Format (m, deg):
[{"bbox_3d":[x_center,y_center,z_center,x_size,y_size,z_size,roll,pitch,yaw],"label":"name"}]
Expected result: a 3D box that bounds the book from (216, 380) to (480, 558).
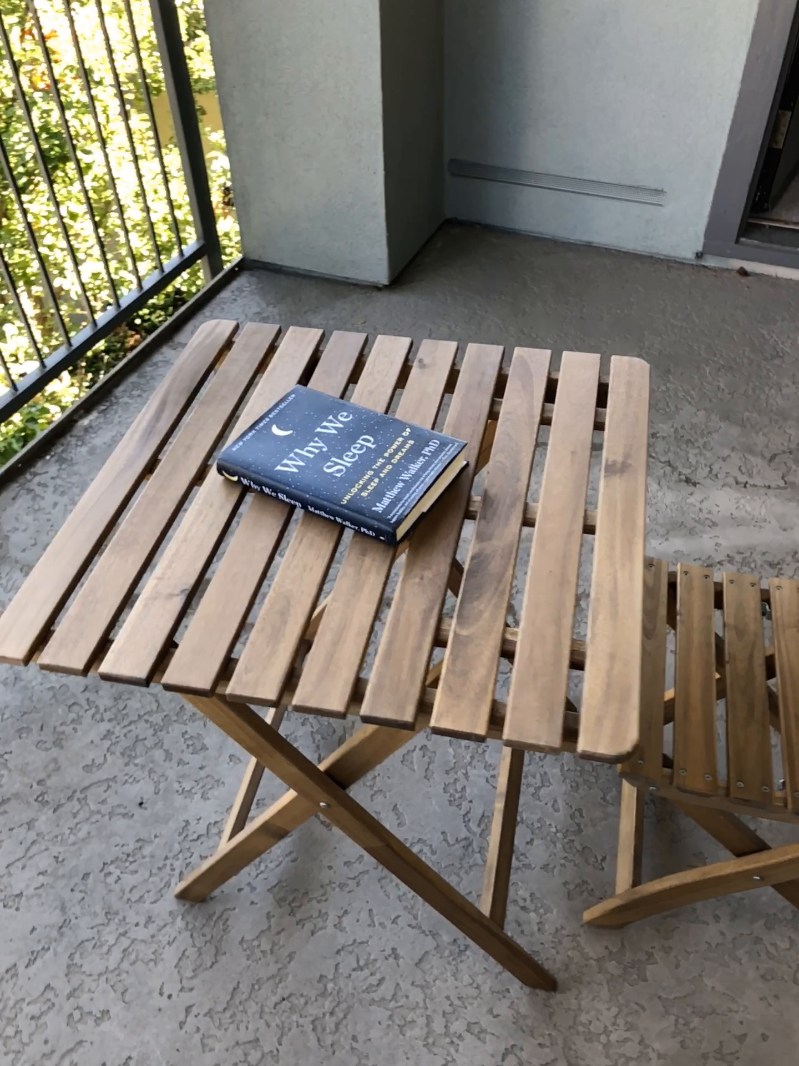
[{"bbox_3d":[-0.056,-0.080,0.980,0.235,0.029,0.170,23,50,23],"label":"book"}]
